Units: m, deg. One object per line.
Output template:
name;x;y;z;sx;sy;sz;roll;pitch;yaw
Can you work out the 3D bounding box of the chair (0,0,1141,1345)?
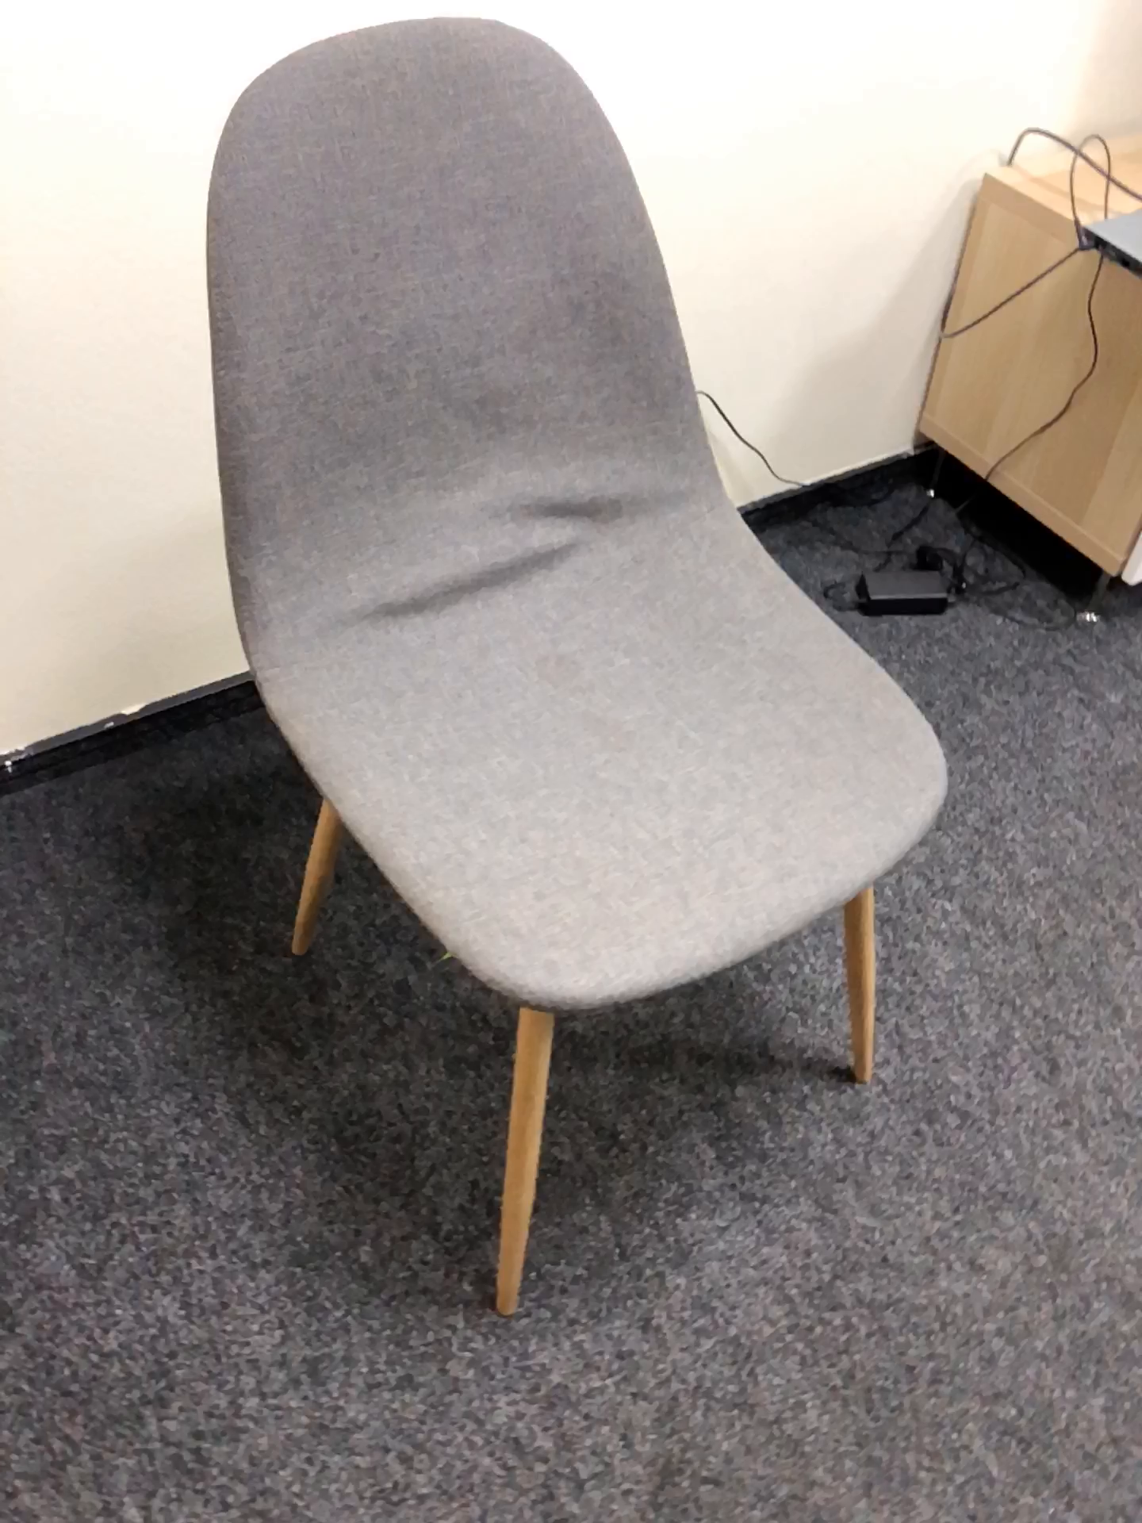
chair;-0.024;-0.065;1.001;0.471;0.785;0.603;-25;53;-22
